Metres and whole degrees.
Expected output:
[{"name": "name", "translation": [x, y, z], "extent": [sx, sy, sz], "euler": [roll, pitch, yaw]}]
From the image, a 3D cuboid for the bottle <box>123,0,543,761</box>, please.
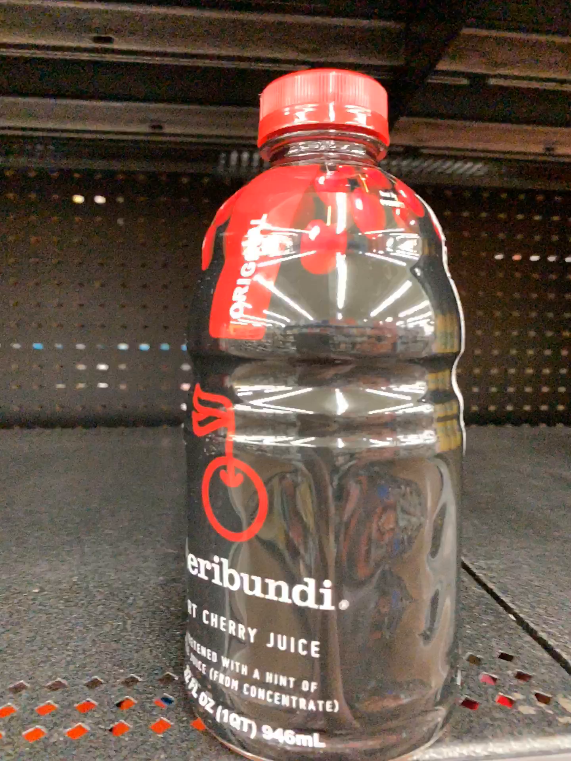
[{"name": "bottle", "translation": [0.016, 0.009, 0.193], "extent": [0.095, 0.205, 0.090], "euler": [1, 6, 0]}]
